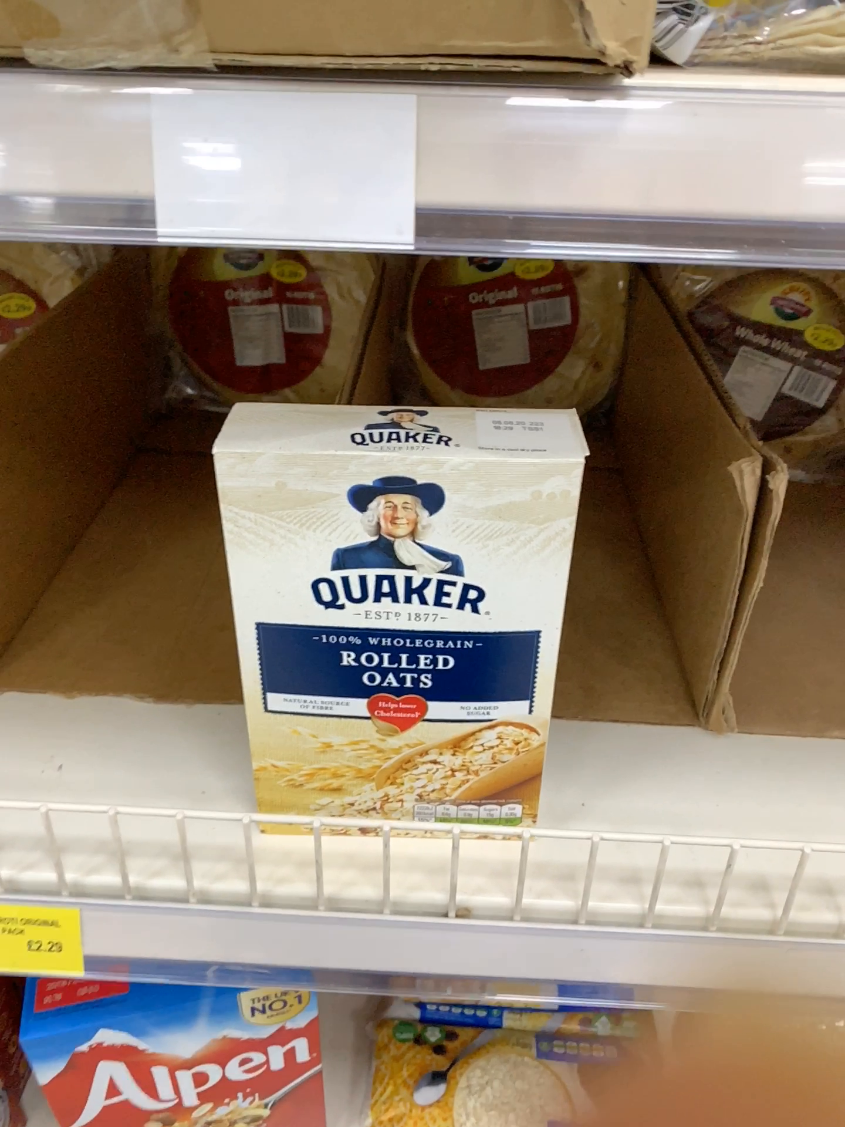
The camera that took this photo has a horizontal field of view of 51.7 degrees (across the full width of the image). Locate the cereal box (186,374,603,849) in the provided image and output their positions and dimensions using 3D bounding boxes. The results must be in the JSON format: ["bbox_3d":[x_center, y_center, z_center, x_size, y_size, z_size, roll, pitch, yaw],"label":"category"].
[{"bbox_3d":[-0.011,0.031,0.399,0.150,0.218,0.061,2,33,1],"label":"cereal box"}]
